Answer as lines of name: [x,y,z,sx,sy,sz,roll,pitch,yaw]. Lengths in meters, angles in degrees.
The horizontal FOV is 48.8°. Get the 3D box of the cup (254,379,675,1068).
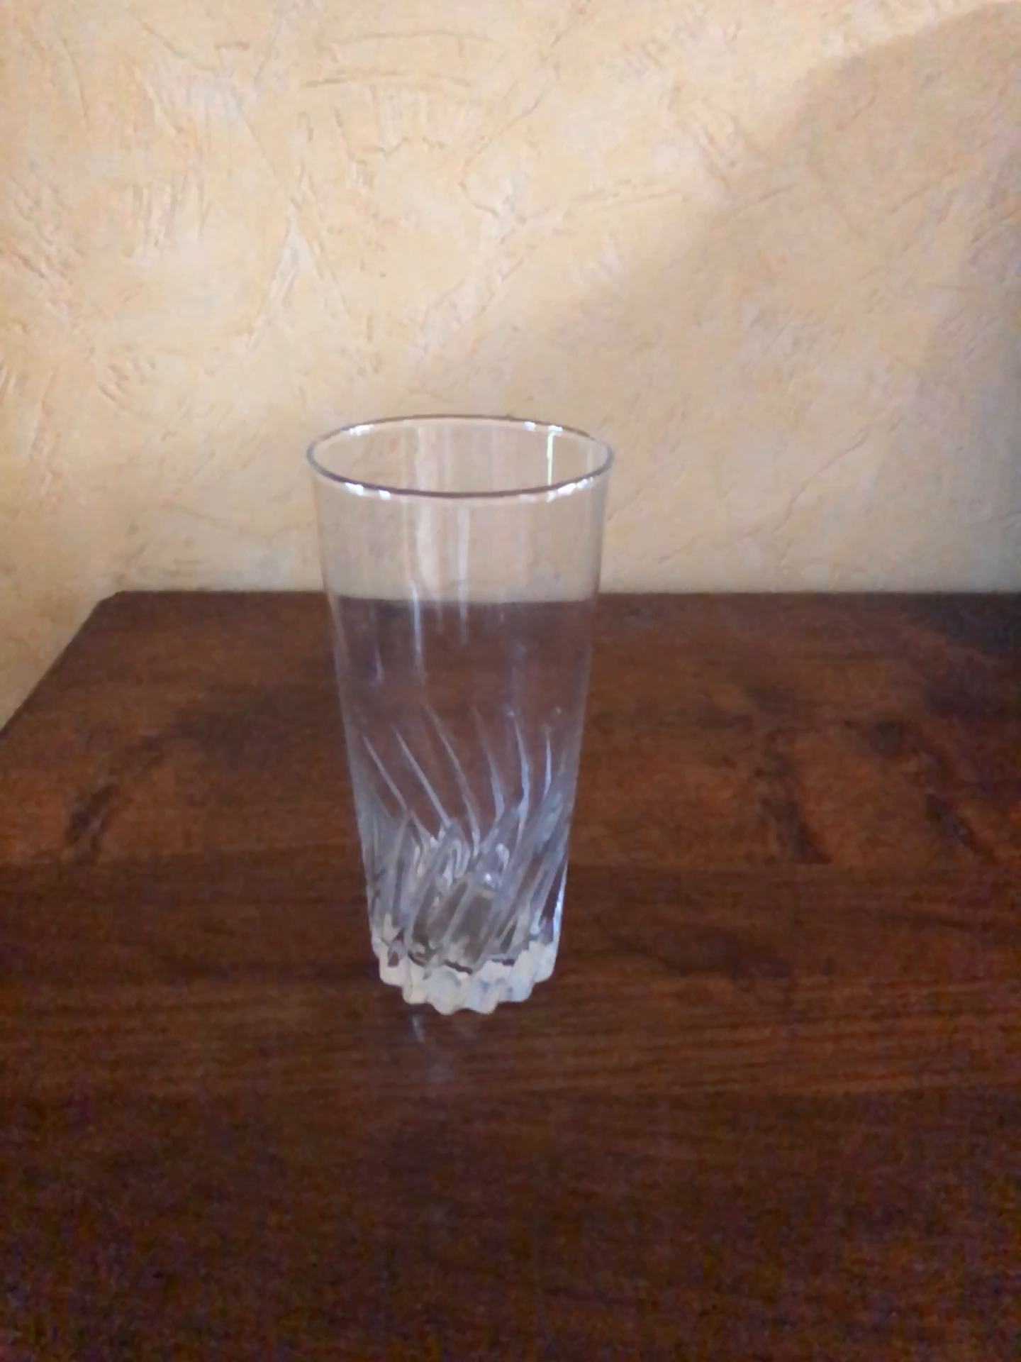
cup: [-0.012,0.007,0.292,0.070,0.149,0.070,0,26,0]
